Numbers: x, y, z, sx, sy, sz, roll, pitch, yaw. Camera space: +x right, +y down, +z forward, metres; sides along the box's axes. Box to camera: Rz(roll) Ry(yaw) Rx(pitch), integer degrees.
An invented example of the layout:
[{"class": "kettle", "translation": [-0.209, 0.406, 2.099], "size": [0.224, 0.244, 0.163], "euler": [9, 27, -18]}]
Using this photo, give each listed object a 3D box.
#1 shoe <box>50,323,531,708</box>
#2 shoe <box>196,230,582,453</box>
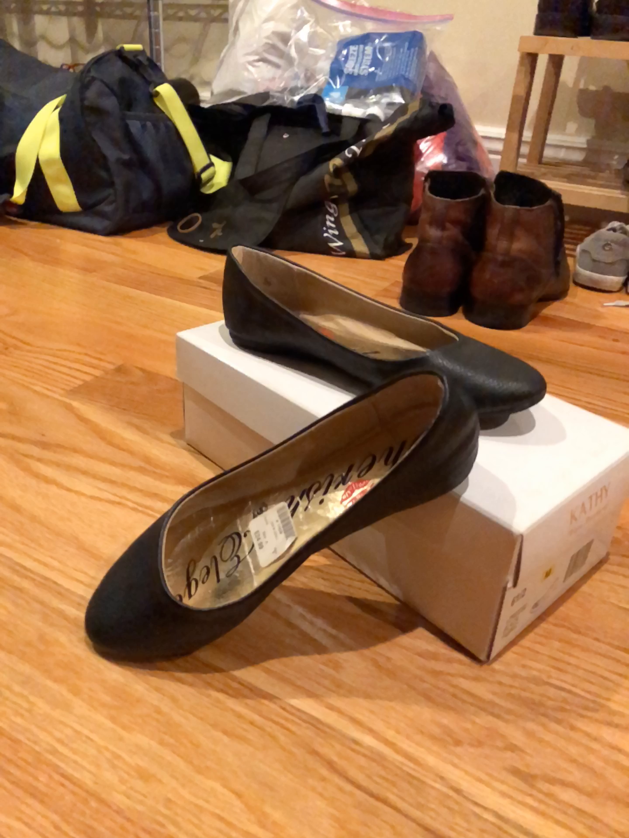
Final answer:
[{"class": "shoe", "translation": [-0.022, 0.055, 0.356], "size": [0.239, 0.060, 0.076], "euler": [-31, 46, 11]}, {"class": "shoe", "translation": [0.035, -0.062, 0.448], "size": [0.240, 0.060, 0.076], "euler": [23, 35, 31]}]
